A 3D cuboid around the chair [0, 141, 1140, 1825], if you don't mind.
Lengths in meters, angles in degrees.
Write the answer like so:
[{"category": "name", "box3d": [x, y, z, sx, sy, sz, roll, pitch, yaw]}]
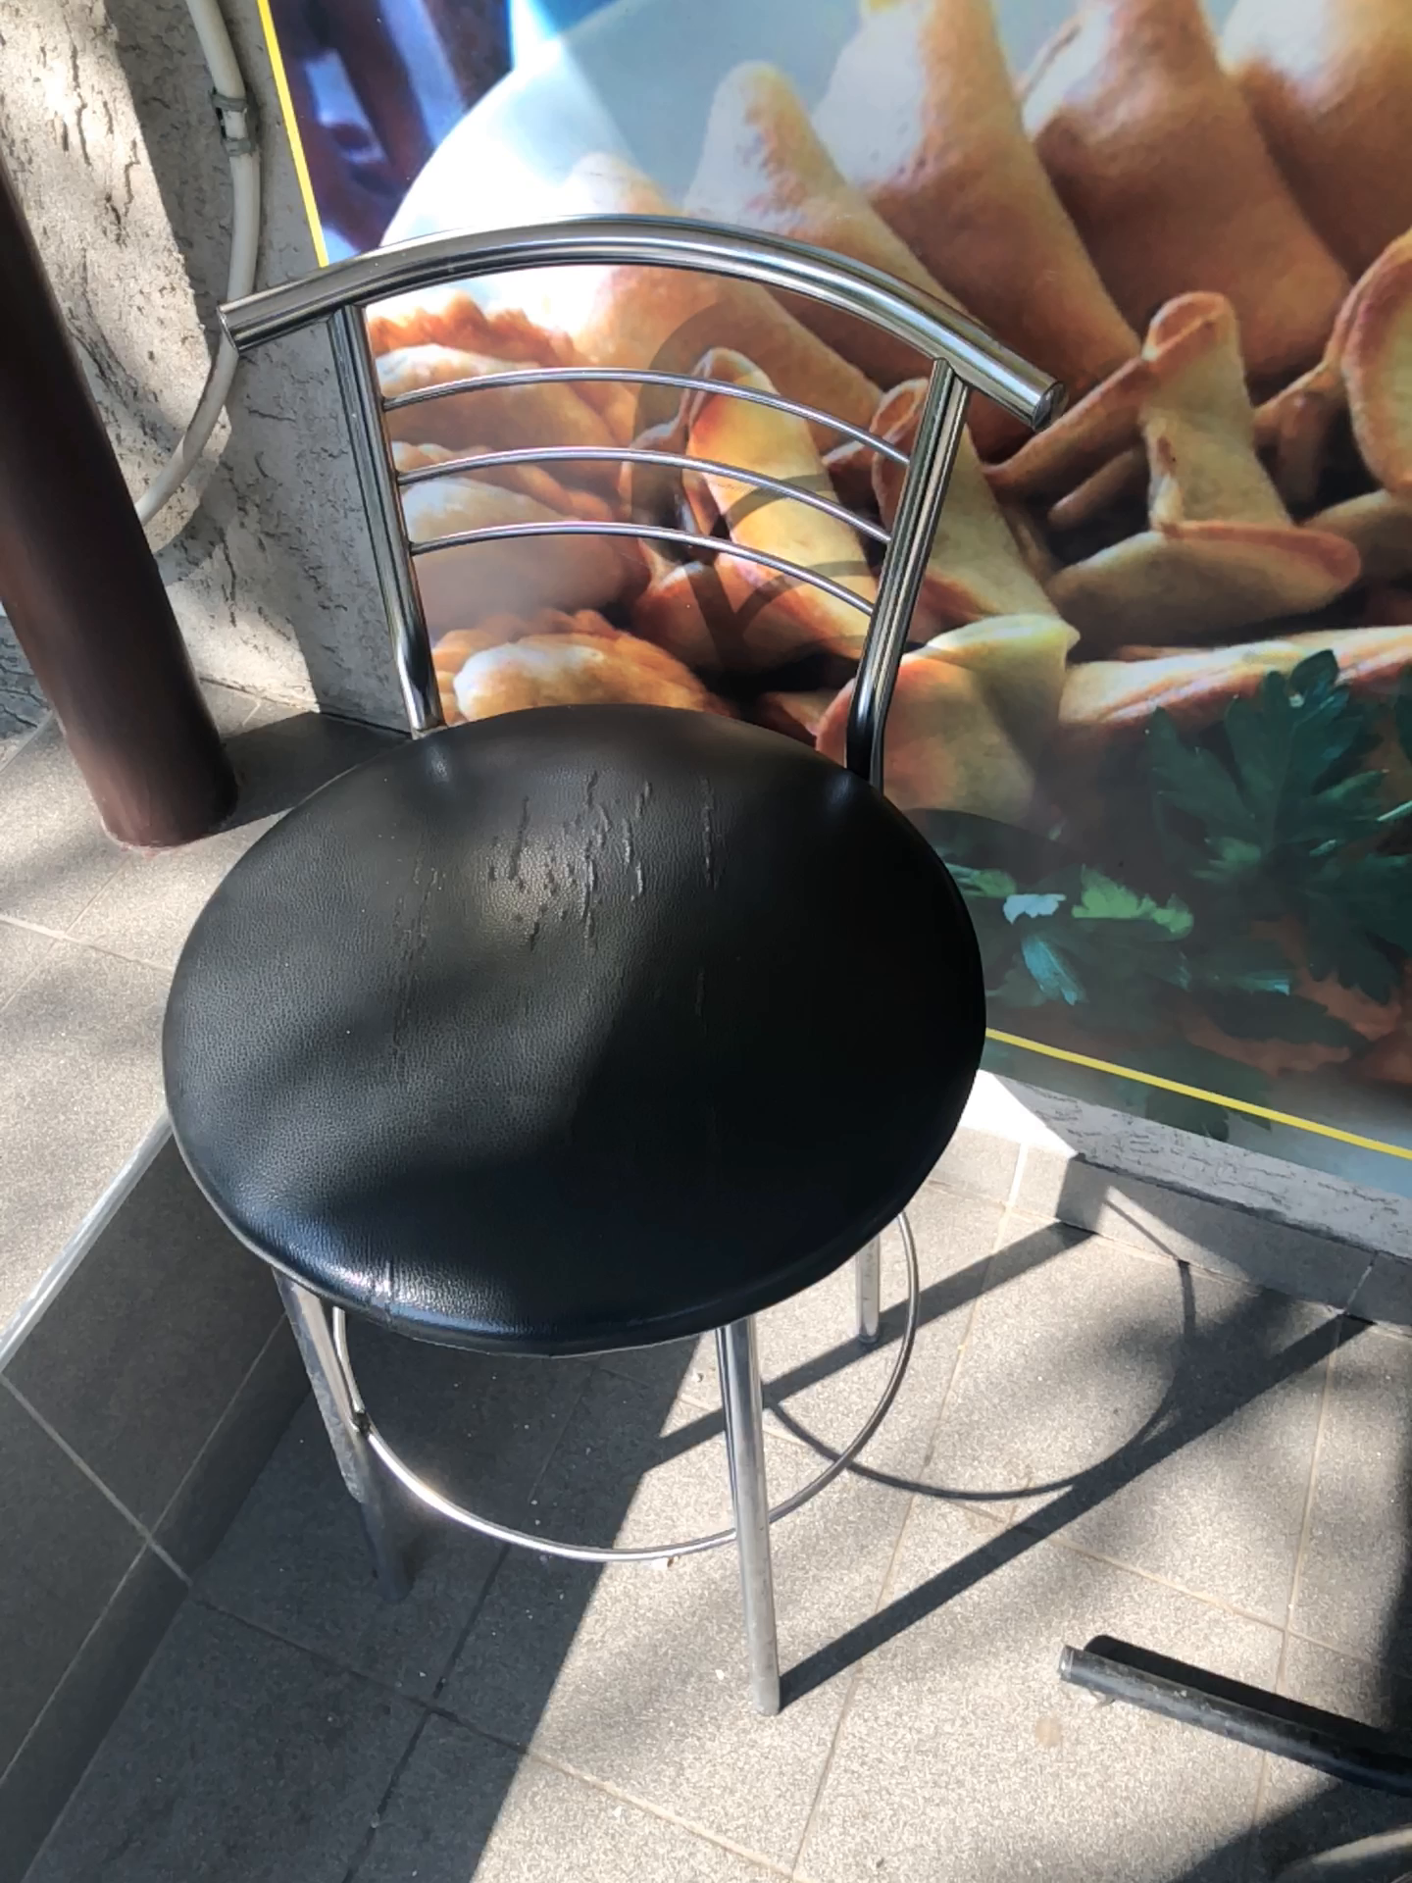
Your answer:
[{"category": "chair", "box3d": [-0.081, 0.118, 0.945, 0.480, 0.937, 0.482, 9, 51, 10]}]
